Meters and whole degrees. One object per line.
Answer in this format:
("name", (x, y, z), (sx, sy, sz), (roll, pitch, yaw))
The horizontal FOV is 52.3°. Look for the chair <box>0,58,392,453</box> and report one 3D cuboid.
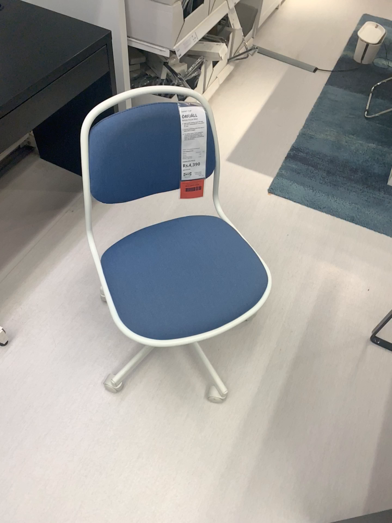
("chair", (-0.037, 0.018, 1.128), (0.640, 0.798, 0.601), (-18, 57, -17))
